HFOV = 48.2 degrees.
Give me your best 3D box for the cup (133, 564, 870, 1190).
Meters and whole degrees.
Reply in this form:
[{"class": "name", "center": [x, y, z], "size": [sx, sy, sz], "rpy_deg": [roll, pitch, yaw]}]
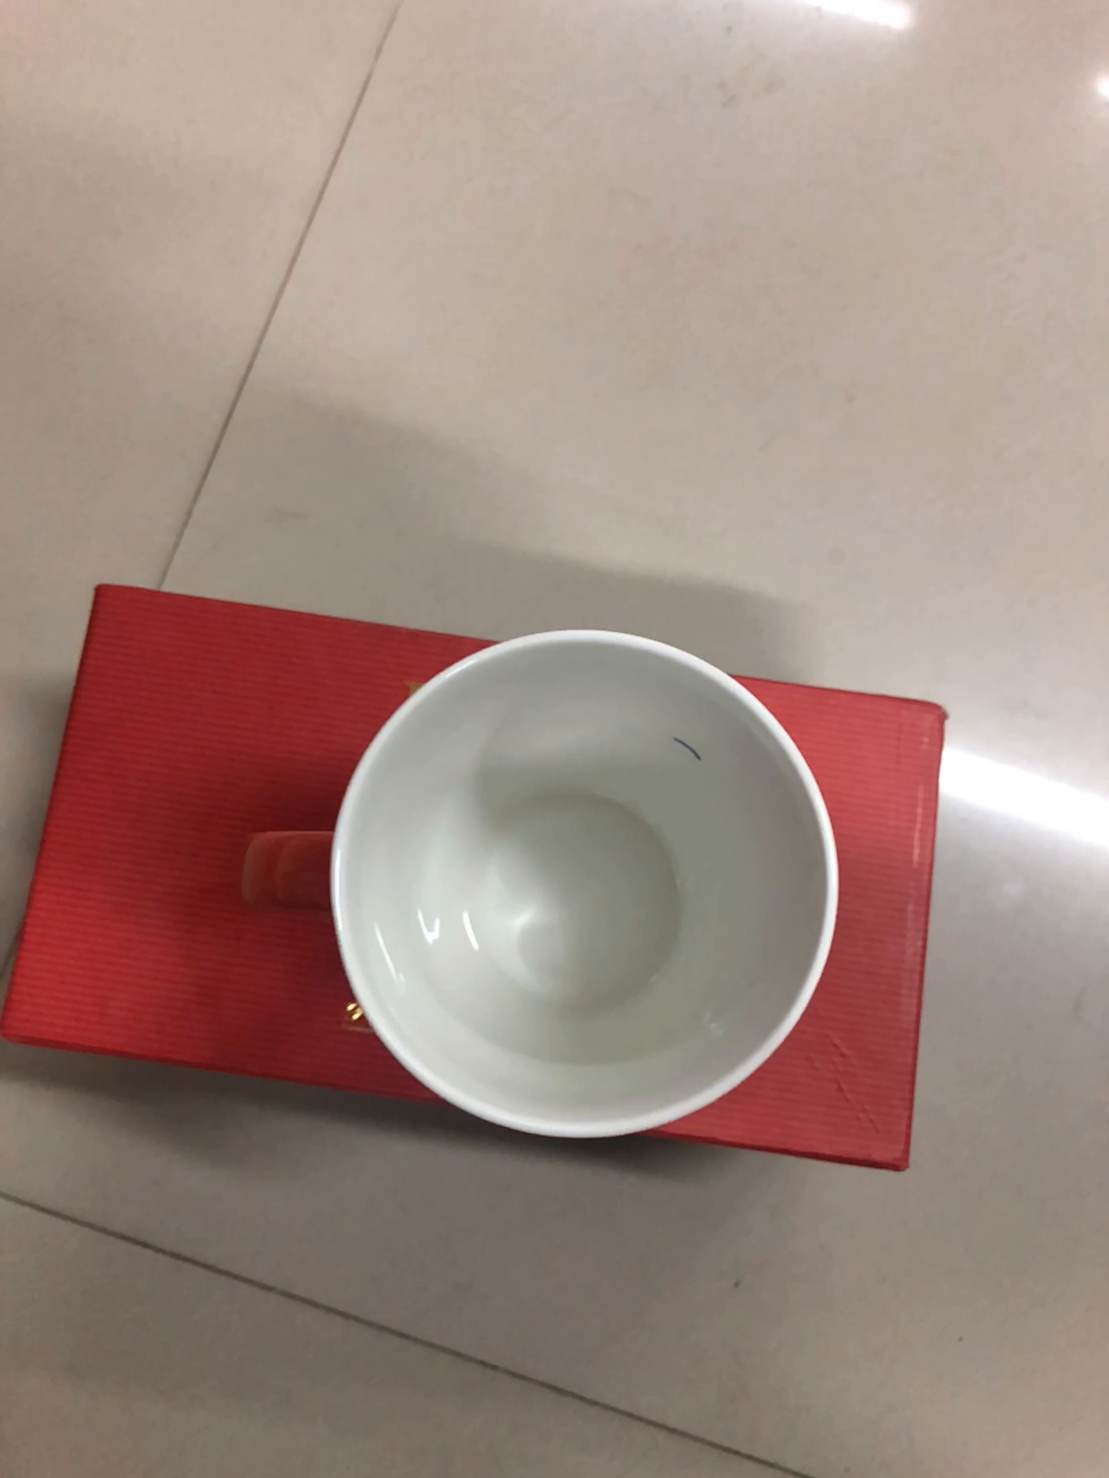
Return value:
[{"class": "cup", "center": [-0.007, 0.028, 0.245], "size": [0.110, 0.090, 0.090], "rpy_deg": [6, 80, 0]}]
